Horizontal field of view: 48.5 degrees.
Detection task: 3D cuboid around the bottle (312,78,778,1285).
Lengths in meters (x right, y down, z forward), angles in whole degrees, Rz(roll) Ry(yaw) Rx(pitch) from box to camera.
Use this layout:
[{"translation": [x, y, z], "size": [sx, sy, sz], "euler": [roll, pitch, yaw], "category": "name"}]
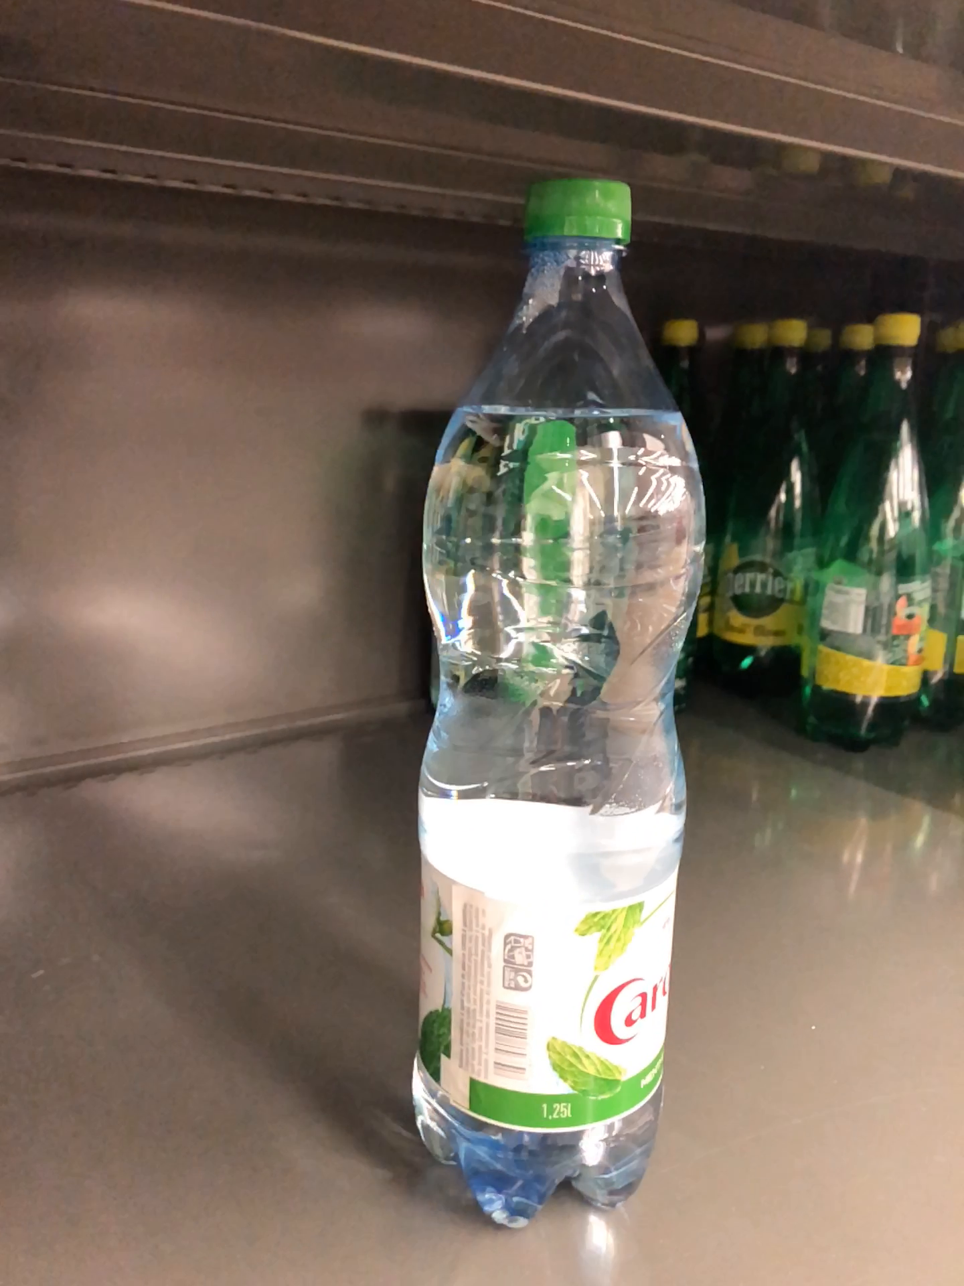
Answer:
[{"translation": [0.019, 0.018, 0.351], "size": [0.100, 0.339, 0.100], "euler": [1, 13, 0], "category": "bottle"}]
